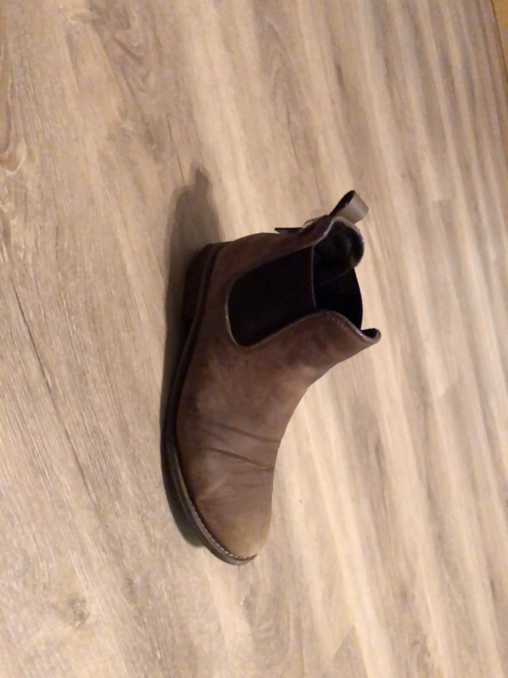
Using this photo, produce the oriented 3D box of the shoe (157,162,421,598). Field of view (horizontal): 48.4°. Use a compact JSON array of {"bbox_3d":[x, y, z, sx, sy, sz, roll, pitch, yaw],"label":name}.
[{"bbox_3d":[0.020,0.030,0.390,0.101,0.139,0.240,12,73,-53],"label":"shoe"}]
